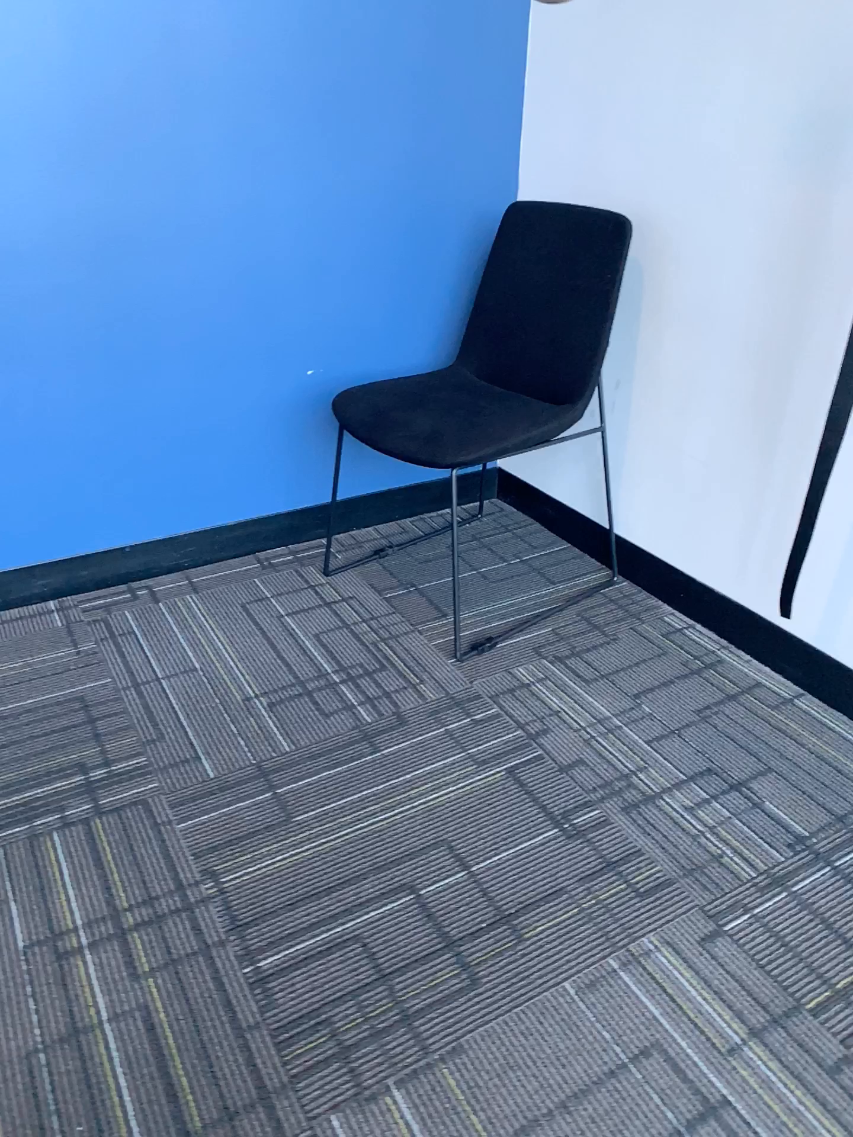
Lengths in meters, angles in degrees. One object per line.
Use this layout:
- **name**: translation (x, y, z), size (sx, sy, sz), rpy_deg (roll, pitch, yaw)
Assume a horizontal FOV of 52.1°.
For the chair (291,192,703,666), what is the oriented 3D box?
- **chair**: translation (0.121, -0.331, 1.791), size (0.581, 0.755, 0.502), rpy_deg (-21, 35, -36)
